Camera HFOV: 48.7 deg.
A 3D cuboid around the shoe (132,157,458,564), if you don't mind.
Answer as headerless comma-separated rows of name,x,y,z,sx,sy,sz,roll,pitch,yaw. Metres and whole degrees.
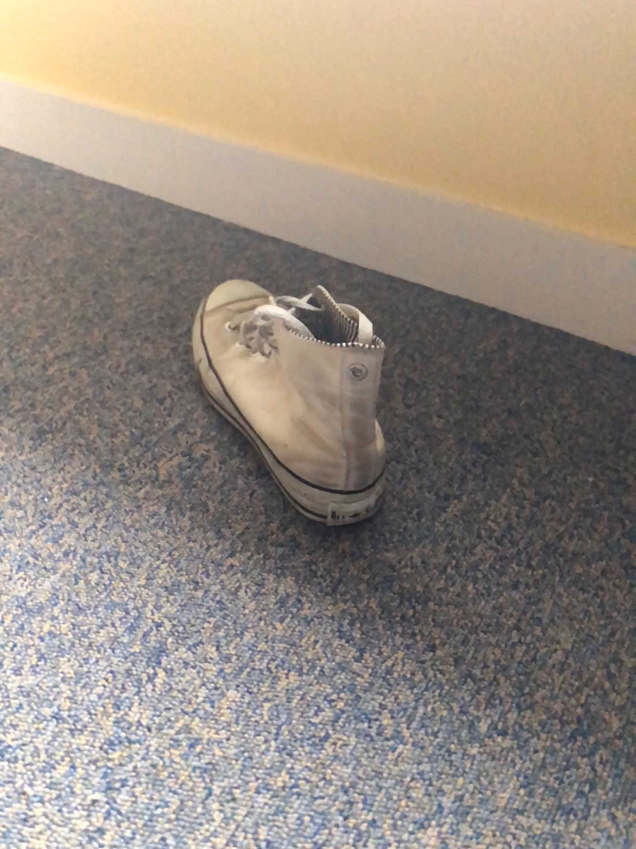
shoe,-0.031,-0.059,0.470,0.100,0.139,0.251,-18,44,-20
